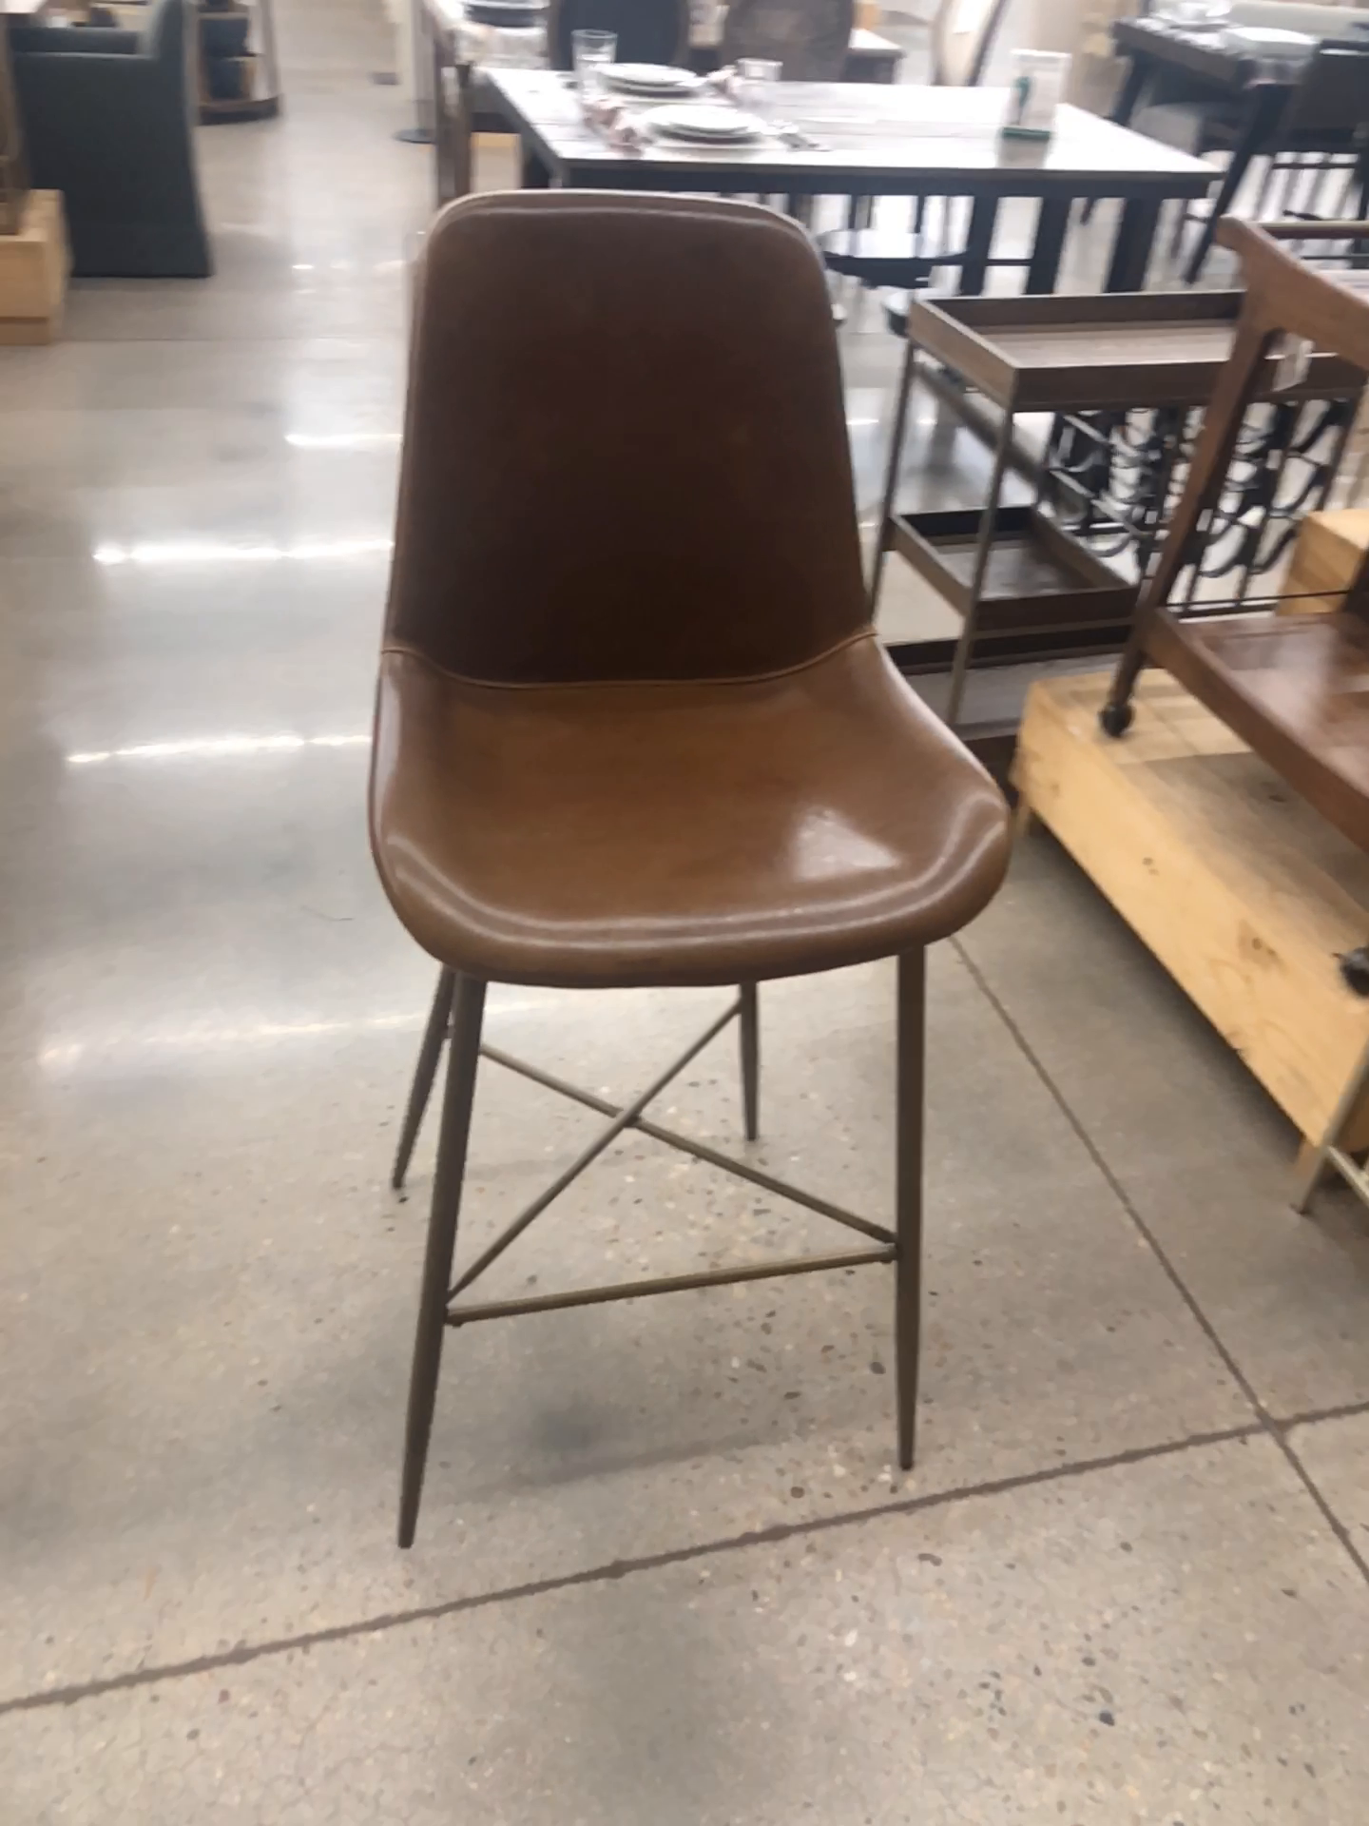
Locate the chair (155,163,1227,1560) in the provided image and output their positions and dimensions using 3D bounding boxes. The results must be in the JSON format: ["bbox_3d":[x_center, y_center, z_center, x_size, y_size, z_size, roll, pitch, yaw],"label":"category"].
[{"bbox_3d":[-0.076,-0.032,1.366,0.603,1.054,0.613,-5,38,-13],"label":"chair"}]
